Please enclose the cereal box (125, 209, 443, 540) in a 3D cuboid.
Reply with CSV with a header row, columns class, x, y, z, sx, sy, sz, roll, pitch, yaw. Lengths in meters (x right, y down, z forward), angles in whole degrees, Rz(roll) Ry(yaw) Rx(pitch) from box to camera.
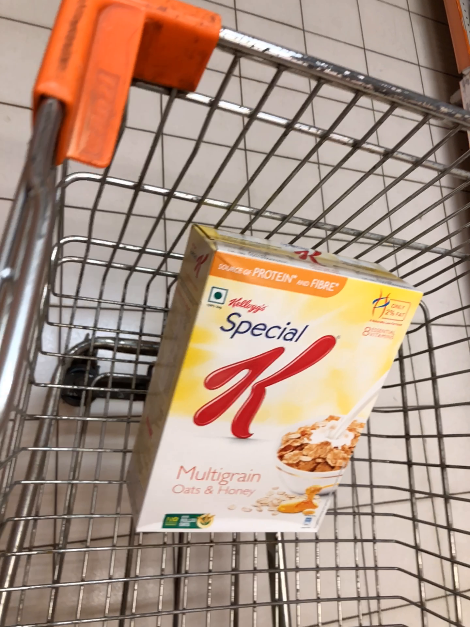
class,x,y,z,sx,sy,sz,roll,pitch,yaw
cereal box,0.029,0.068,0.472,0.190,0.090,0.269,9,113,-22
